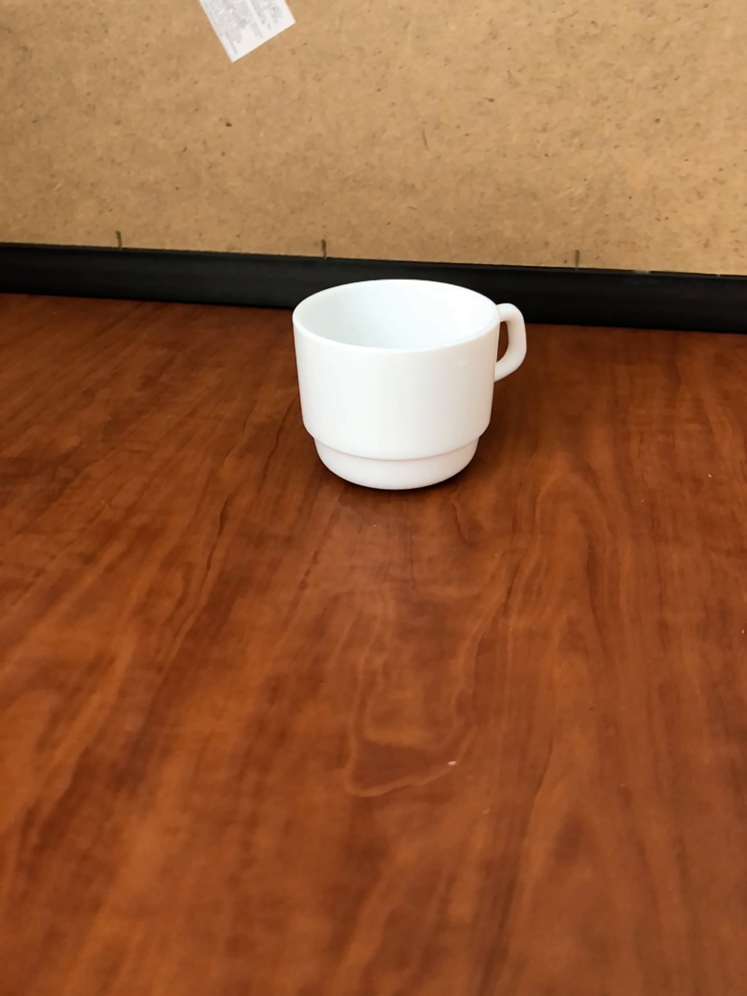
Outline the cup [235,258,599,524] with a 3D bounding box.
[{"bbox_3d":[0.017,-0.053,0.349,0.120,0.060,0.087,-19,36,-27],"label":"cup"}]
